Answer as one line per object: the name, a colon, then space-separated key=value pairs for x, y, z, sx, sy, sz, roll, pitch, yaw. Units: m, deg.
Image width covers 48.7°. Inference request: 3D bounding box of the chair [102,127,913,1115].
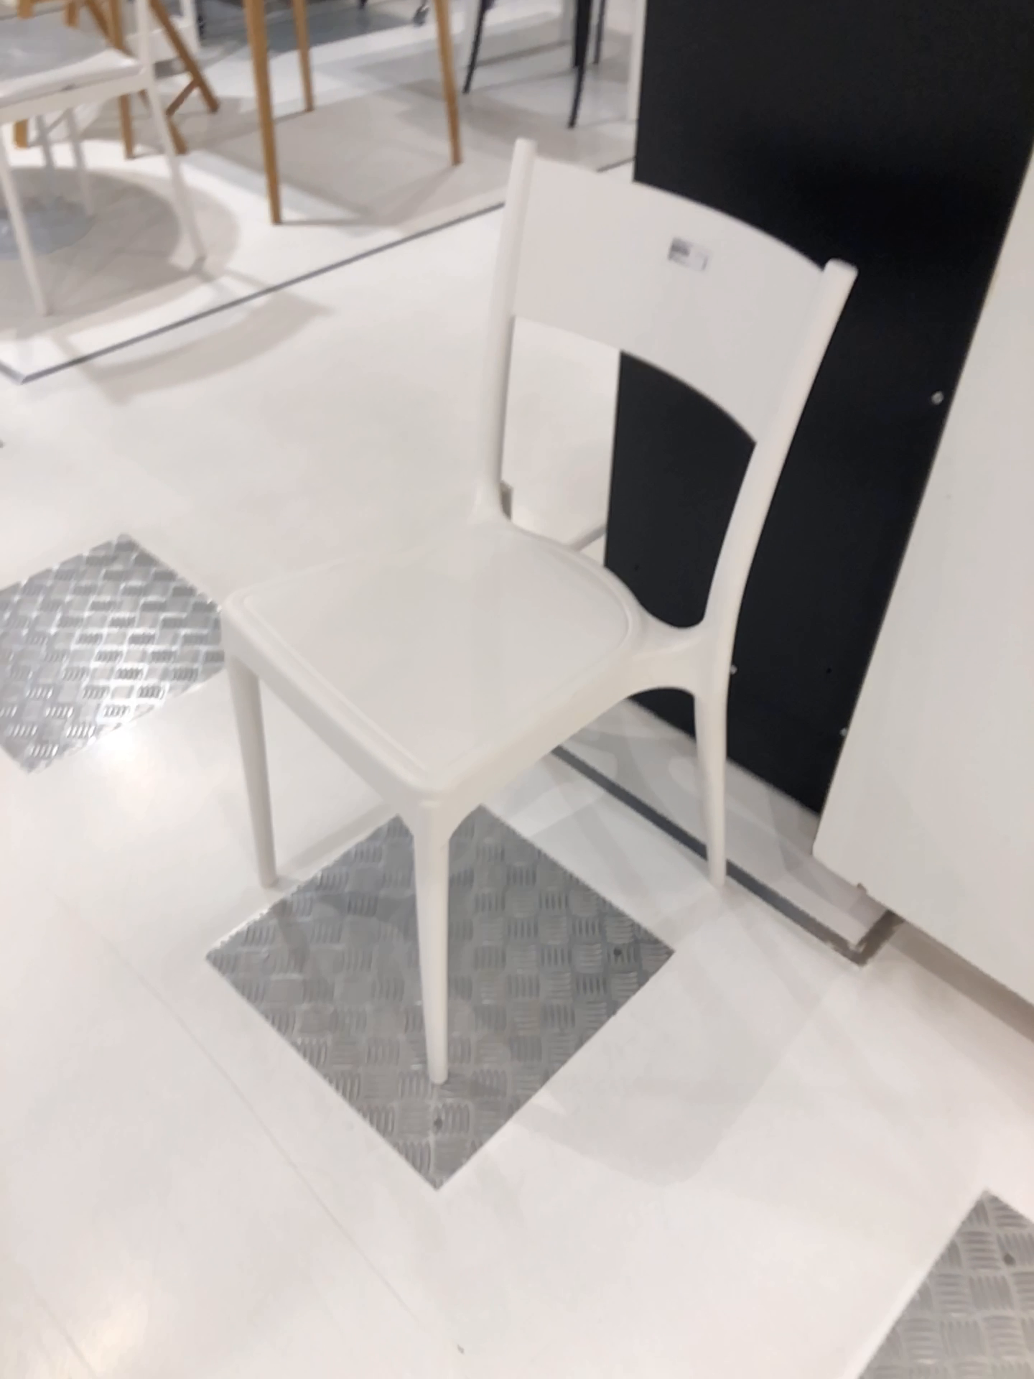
chair: x=-0.013 y=-0.059 z=1.146 sx=0.482 sy=0.764 sz=0.412 roll=-30 pitch=51 yaw=-30
